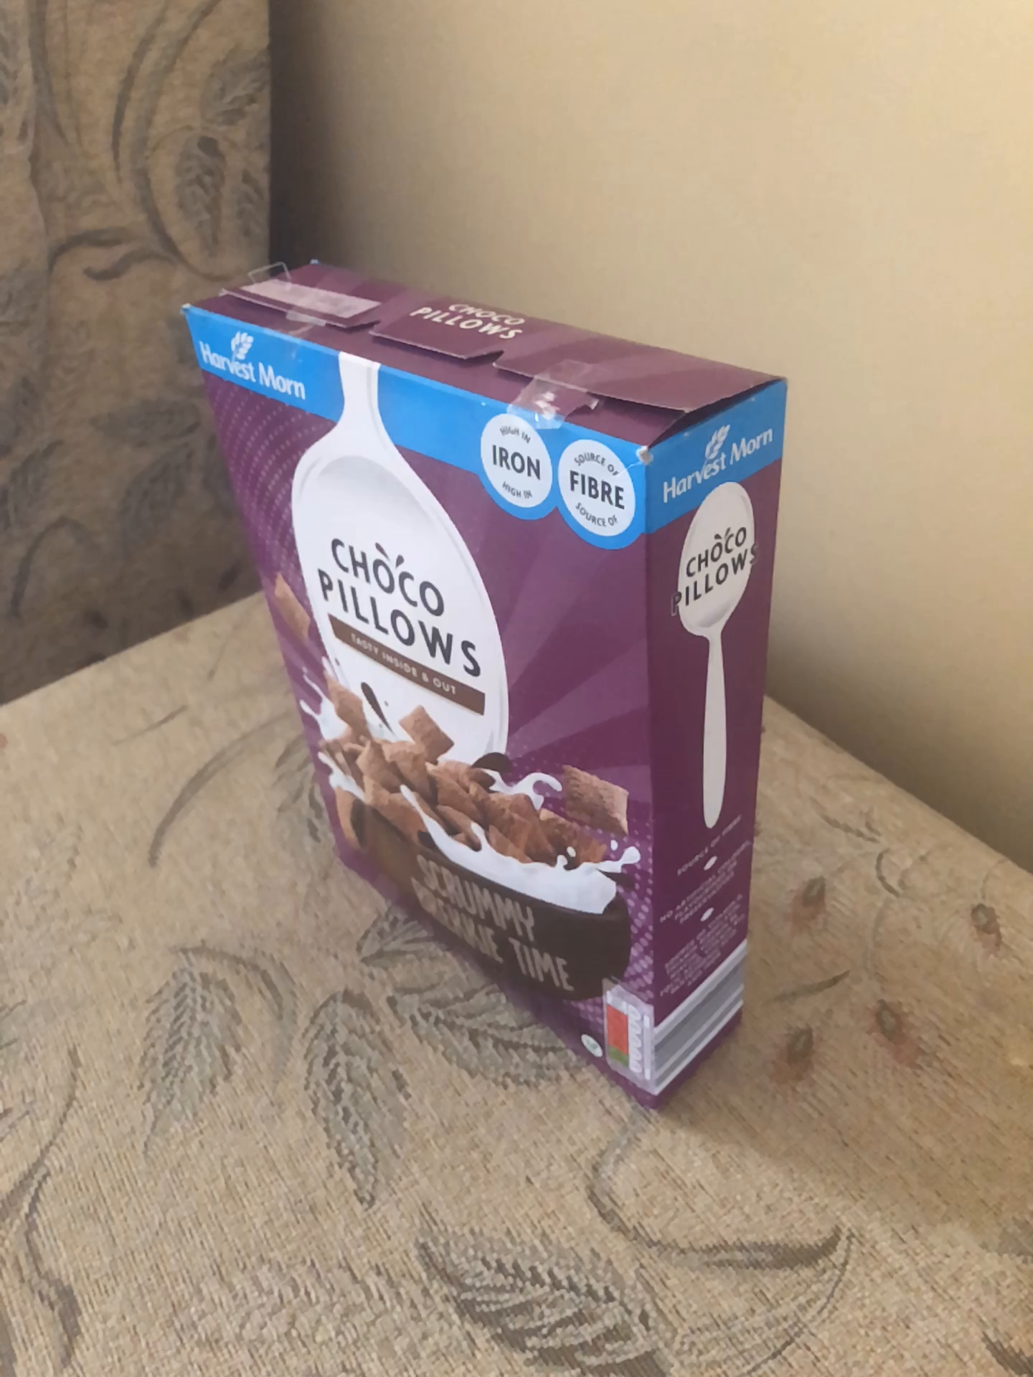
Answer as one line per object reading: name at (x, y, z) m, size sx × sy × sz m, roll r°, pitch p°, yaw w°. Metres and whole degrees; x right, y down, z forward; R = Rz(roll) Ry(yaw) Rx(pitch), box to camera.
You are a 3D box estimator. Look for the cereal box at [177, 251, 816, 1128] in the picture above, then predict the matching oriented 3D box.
cereal box at (-0.005, 0.006, 0.422) m, size 0.201 × 0.278 × 0.060 m, roll 27°, pitch 49°, yaw 34°
